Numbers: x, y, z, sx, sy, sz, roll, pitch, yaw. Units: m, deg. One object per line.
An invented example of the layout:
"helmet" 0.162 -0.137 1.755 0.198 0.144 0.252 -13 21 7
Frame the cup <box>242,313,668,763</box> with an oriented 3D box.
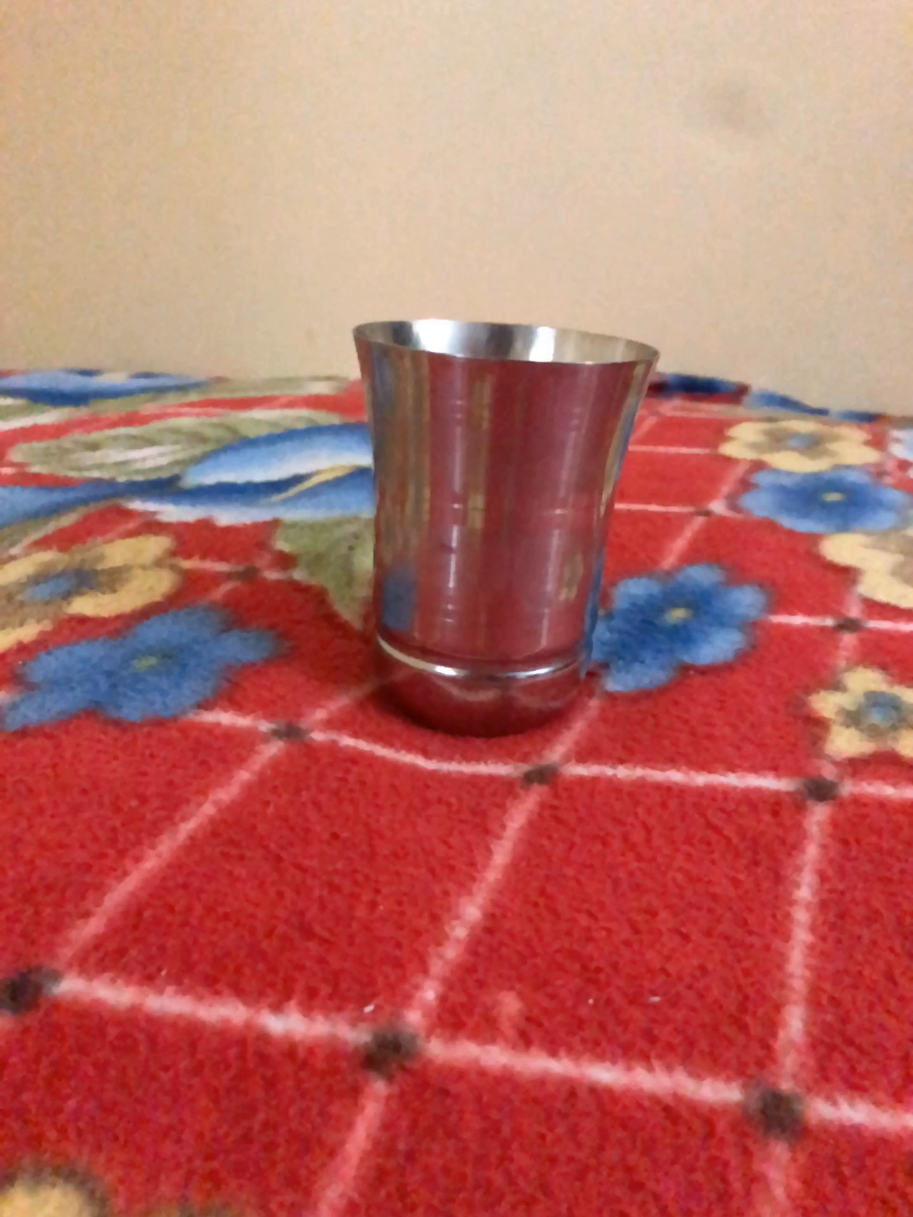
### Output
"cup" 0.005 -0.026 0.262 0.087 0.090 0.089 2 18 -1
